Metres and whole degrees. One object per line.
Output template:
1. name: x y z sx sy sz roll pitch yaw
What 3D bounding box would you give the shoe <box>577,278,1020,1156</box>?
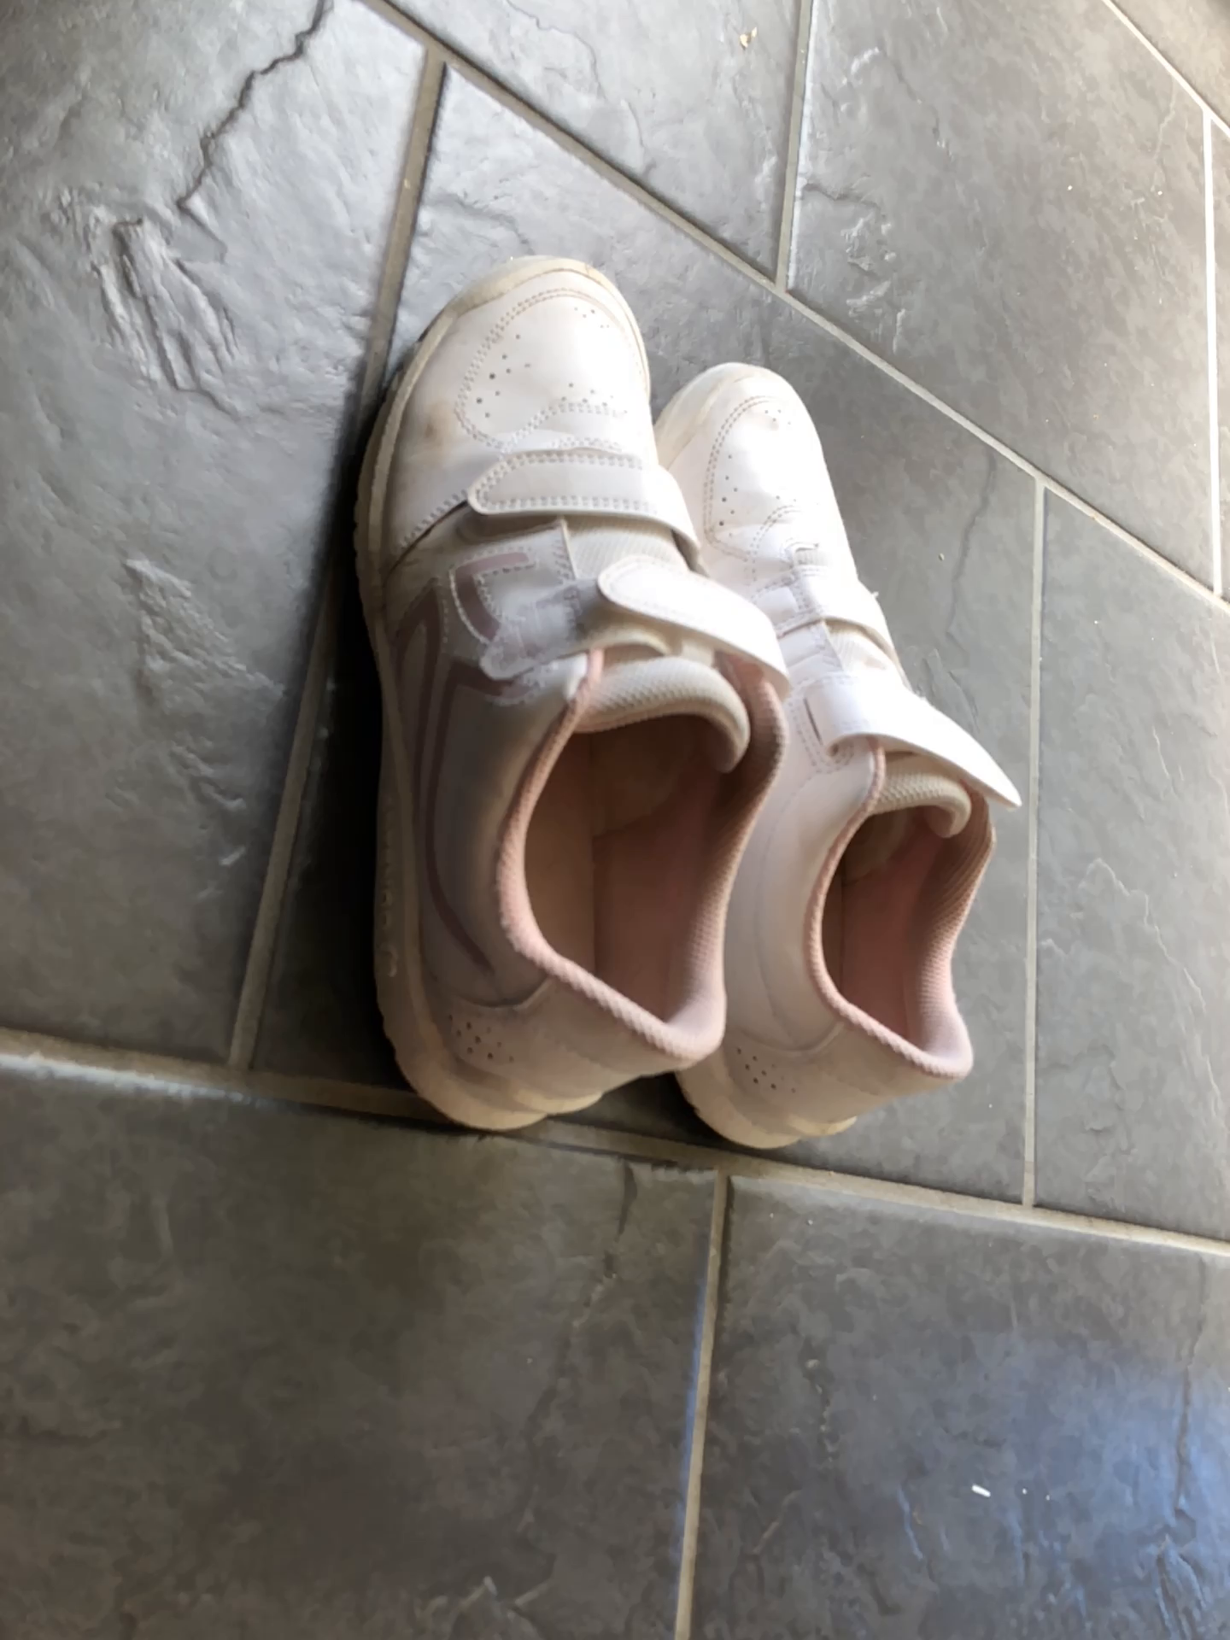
1. shoe: 0.054 -0.024 0.434 0.096 0.090 0.250 9 75 -38

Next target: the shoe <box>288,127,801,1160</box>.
1. shoe: -0.016 -0.037 0.372 0.096 0.090 0.250 12 73 -37
